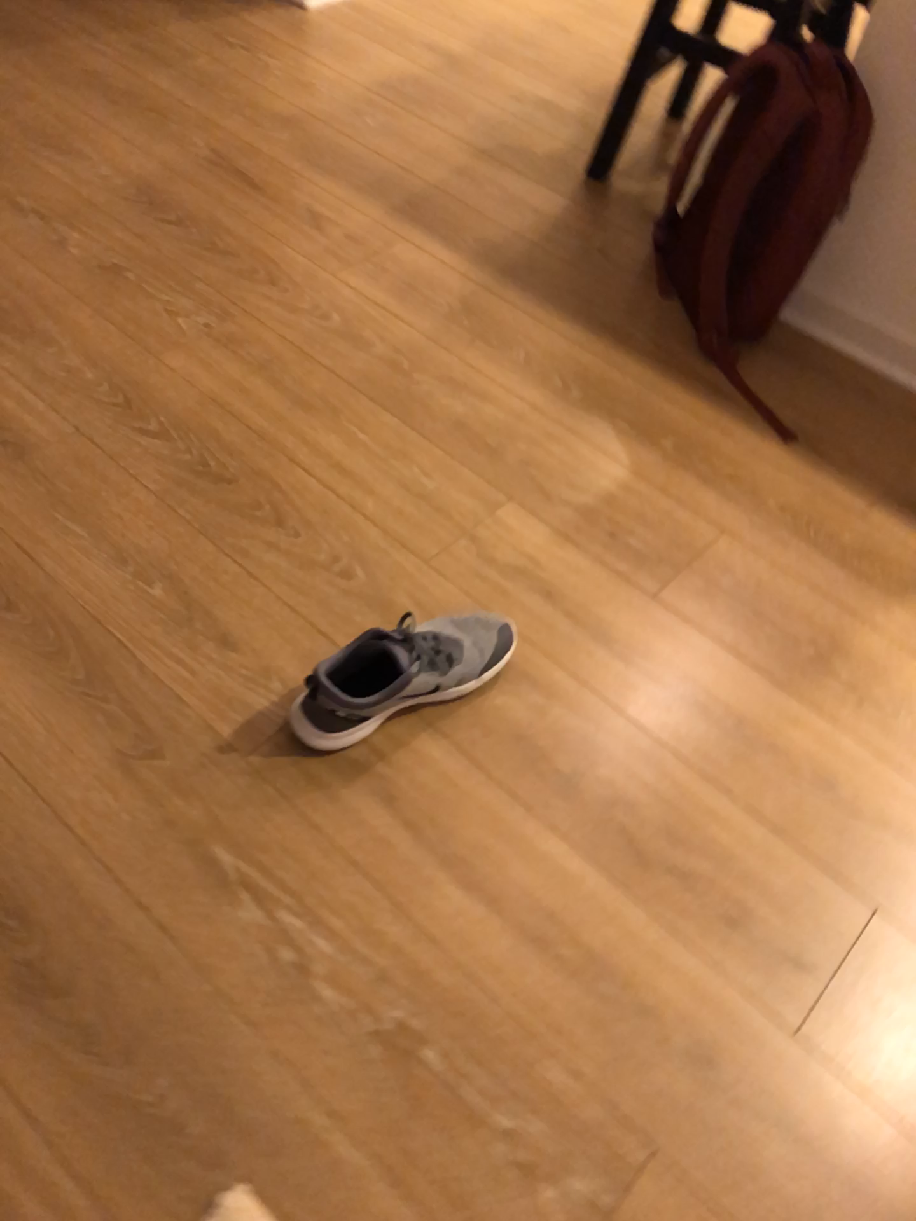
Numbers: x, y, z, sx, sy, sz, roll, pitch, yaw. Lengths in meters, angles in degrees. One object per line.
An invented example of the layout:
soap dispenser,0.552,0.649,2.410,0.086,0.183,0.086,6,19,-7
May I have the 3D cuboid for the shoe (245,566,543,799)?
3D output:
shoe,-0.073,0.077,1.203,0.321,0.080,0.140,-25,58,-25
